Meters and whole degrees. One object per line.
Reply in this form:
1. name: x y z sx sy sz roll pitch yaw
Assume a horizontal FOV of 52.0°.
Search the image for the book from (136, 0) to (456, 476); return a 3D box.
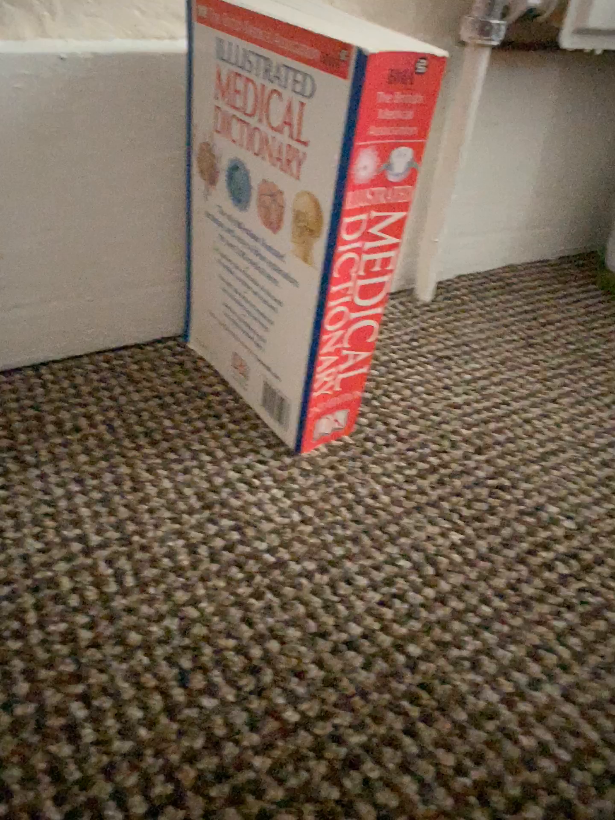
1. book: -0.027 -0.105 0.349 0.060 0.198 0.191 -16 42 -28
